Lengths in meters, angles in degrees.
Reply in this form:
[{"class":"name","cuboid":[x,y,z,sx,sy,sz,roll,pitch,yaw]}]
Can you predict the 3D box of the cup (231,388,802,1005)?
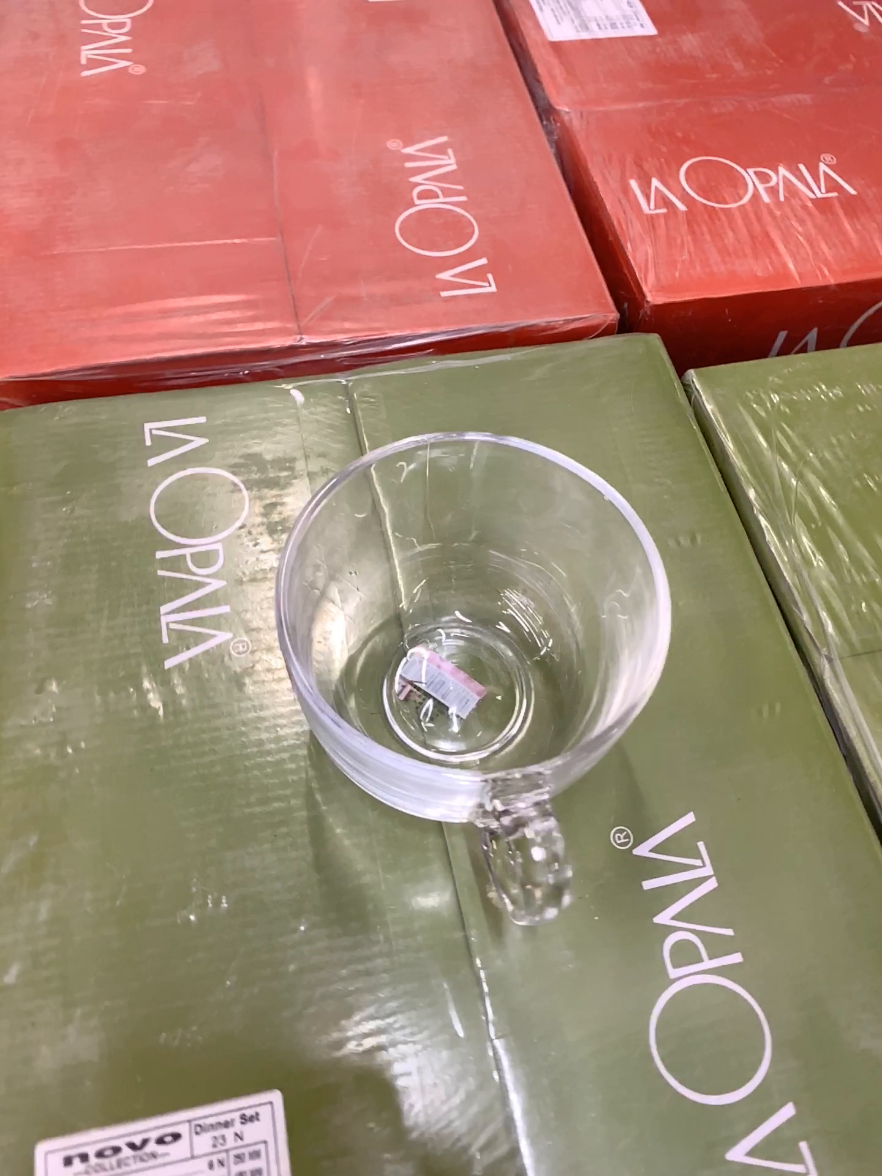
[{"class":"cup","cuboid":[0.010,0.031,0.274,0.110,0.090,0.140,-12,62,-11]}]
